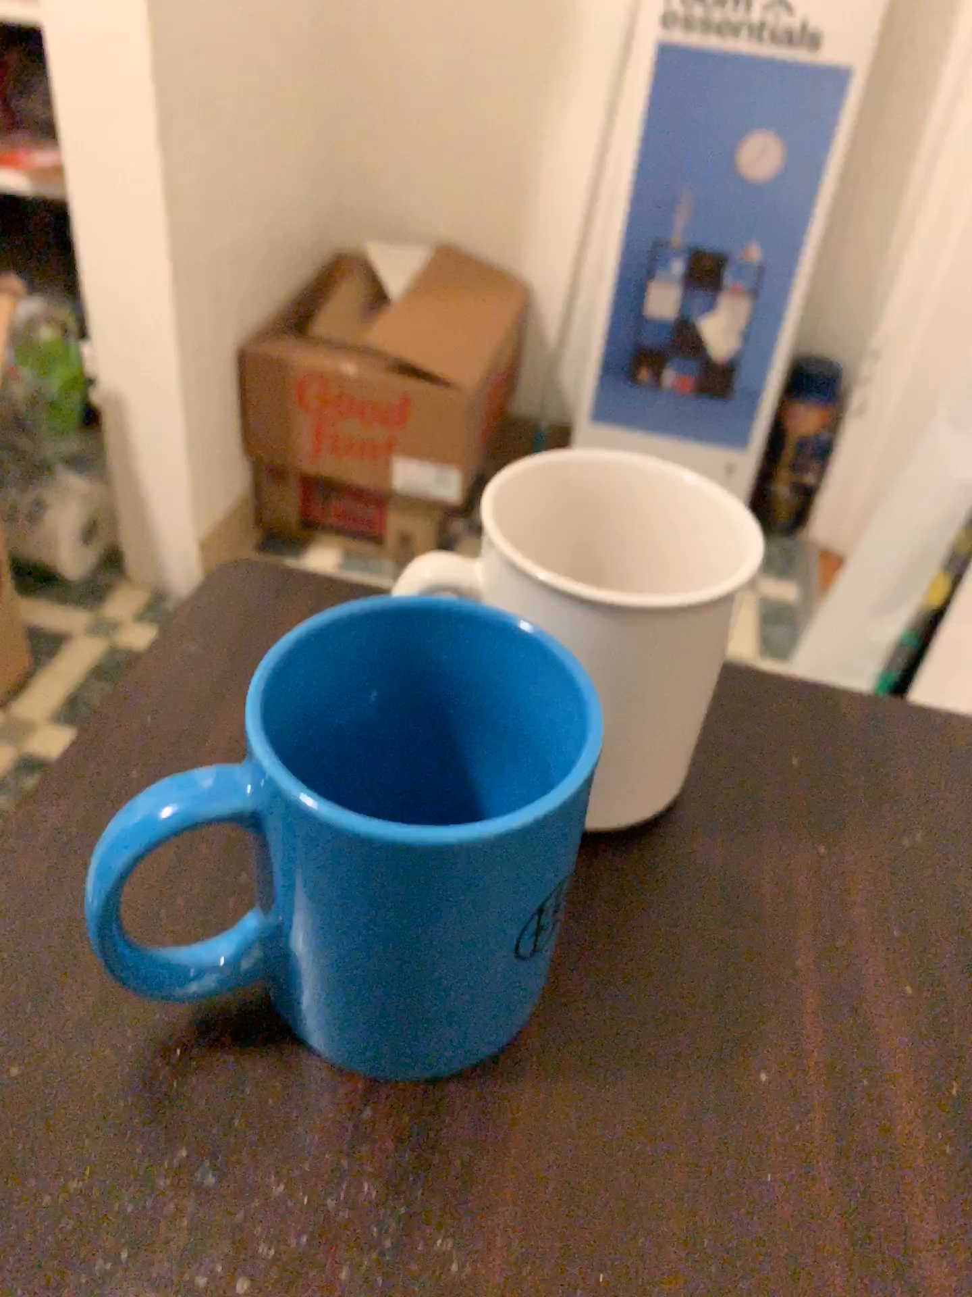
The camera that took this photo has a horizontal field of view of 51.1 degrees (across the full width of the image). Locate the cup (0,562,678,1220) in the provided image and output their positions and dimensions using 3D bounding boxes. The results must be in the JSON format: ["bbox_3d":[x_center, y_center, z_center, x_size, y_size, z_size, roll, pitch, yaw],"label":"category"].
[{"bbox_3d":[-0.045,0.053,0.254,0.140,0.099,0.091,-9,41,-18],"label":"cup"}]

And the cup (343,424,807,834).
[{"bbox_3d":[0.016,-0.007,0.322,0.120,0.090,0.091,1,39,-7],"label":"cup"}]
